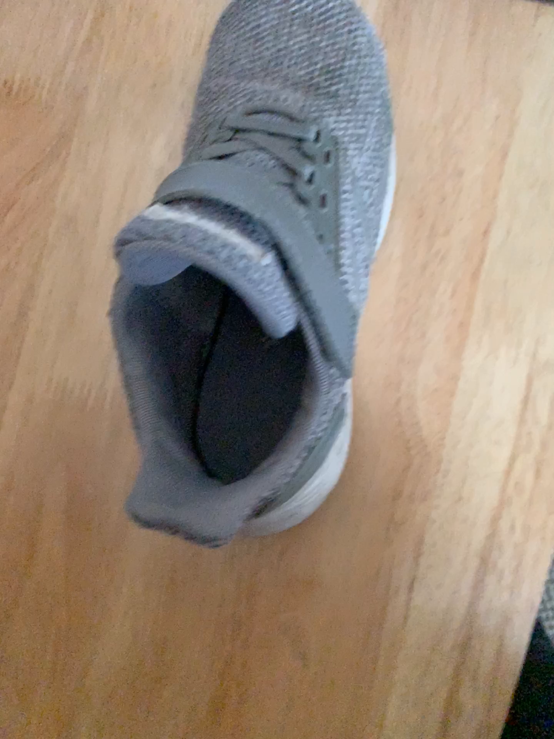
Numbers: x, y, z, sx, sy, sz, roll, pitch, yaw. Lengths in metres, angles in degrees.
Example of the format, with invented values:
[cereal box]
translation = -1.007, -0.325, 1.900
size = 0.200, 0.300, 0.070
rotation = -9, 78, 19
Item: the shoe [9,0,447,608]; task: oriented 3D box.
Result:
[shoe]
translation = -0.007, -0.052, 0.196
size = 0.090, 0.080, 0.220
rotation = 7, 84, 6
